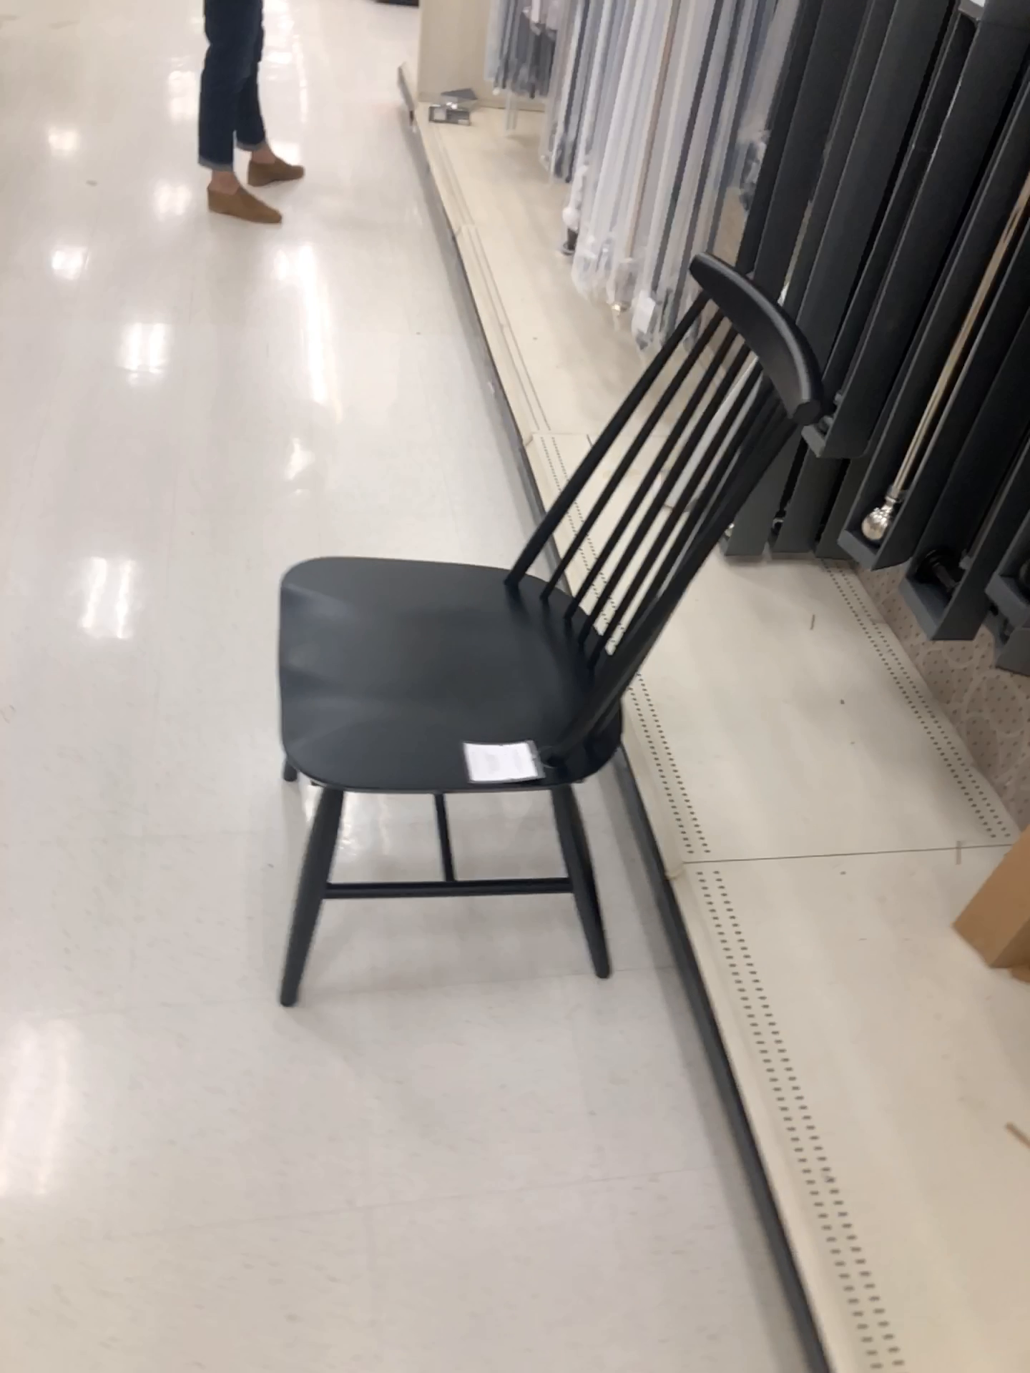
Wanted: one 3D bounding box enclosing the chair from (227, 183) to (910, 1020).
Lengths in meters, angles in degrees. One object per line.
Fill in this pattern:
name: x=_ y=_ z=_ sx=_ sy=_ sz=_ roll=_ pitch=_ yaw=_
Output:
chair: x=-0.030 y=-0.067 z=1.466 sx=0.608 sy=0.910 sz=0.519 roll=0 pitch=42 yaw=-11
